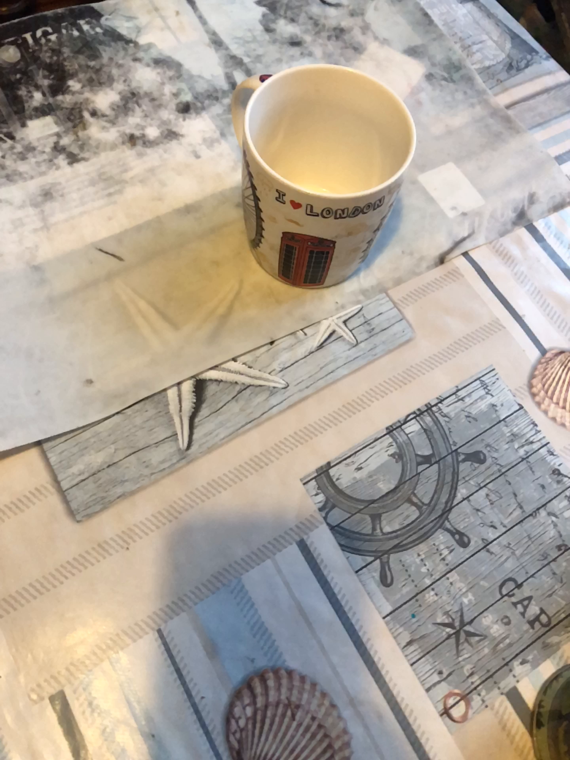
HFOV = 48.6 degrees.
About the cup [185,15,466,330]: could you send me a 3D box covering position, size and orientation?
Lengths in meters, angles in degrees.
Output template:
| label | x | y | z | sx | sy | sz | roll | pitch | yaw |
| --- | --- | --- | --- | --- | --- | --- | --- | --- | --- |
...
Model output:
| label | x | y | z | sx | sy | sz | roll | pitch | yaw |
| --- | --- | --- | --- | --- | --- | --- | --- | --- | --- |
| cup | 0.013 | -0.113 | 0.347 | 0.084 | 0.086 | 0.121 | -29 | 72 | -21 |
